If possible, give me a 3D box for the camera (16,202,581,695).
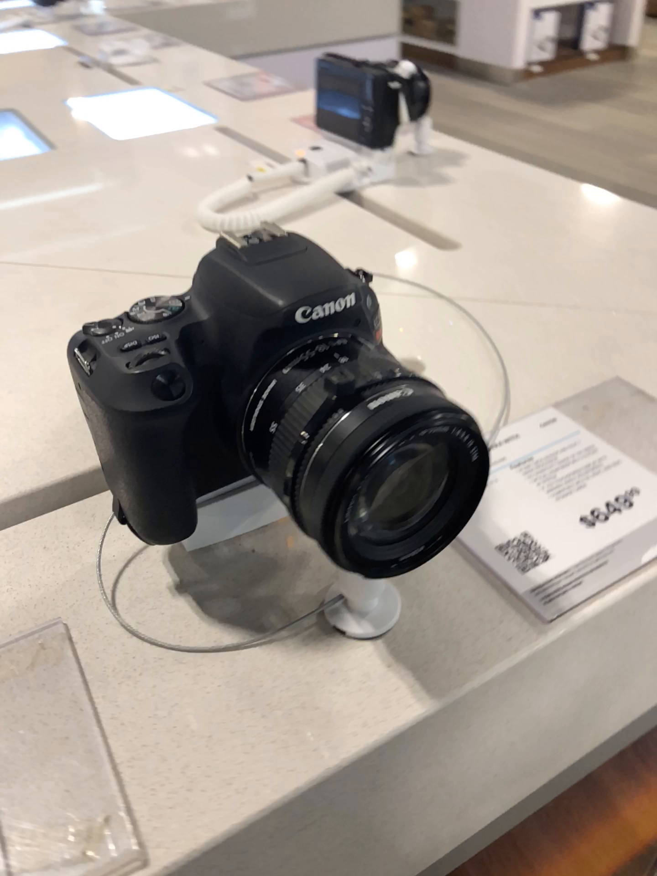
[{"bbox_3d":[-0.019,-0.016,0.262,0.130,0.070,0.151,-22,41,-23],"label":"camera"}]
